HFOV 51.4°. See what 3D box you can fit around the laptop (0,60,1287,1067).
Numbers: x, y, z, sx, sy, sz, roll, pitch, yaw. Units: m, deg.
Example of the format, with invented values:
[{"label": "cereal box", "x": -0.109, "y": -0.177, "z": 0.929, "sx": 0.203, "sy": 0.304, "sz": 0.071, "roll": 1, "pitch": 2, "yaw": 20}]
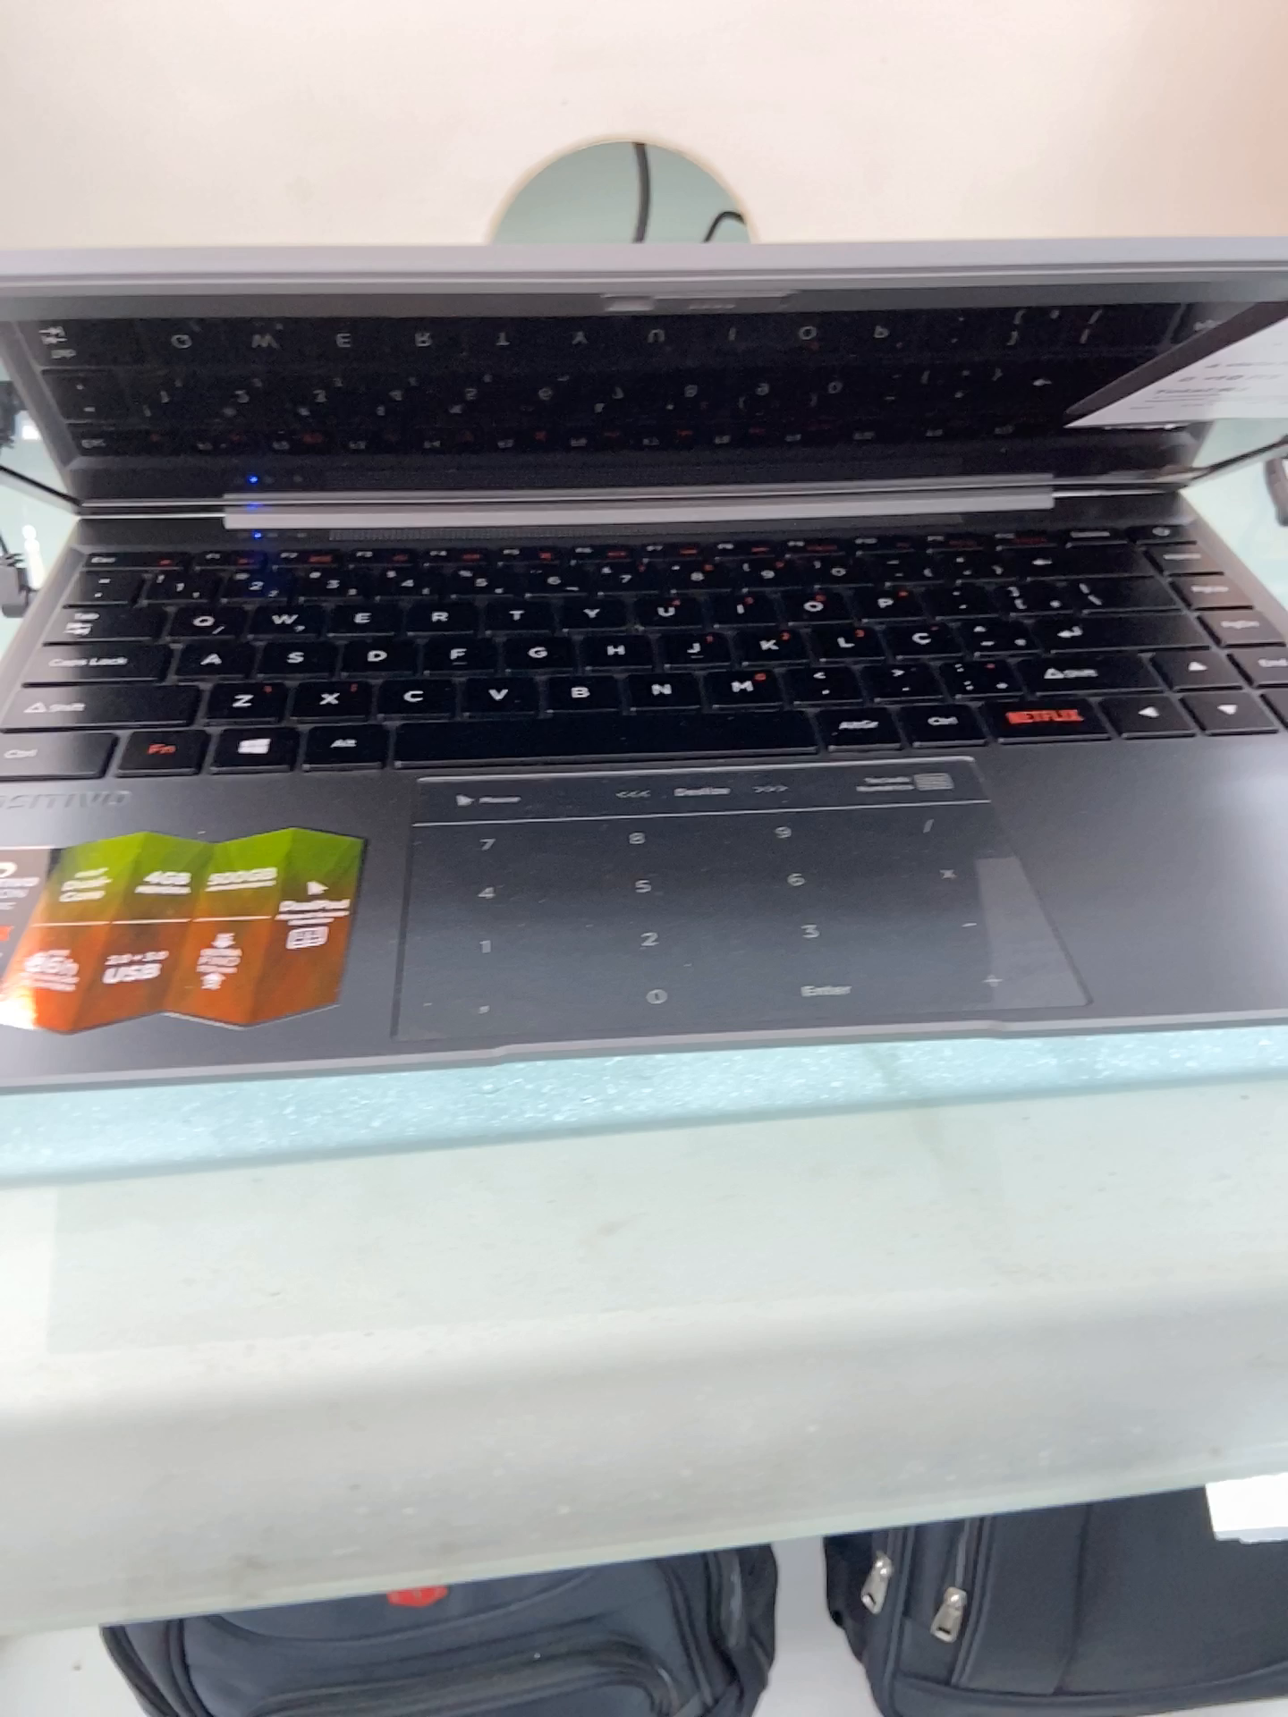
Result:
[{"label": "laptop", "x": 0.013, "y": -0.083, "z": 0.279, "sx": 0.333, "sy": 0.113, "sz": 0.212, "roll": -2, "pitch": 39, "yaw": -4}]
